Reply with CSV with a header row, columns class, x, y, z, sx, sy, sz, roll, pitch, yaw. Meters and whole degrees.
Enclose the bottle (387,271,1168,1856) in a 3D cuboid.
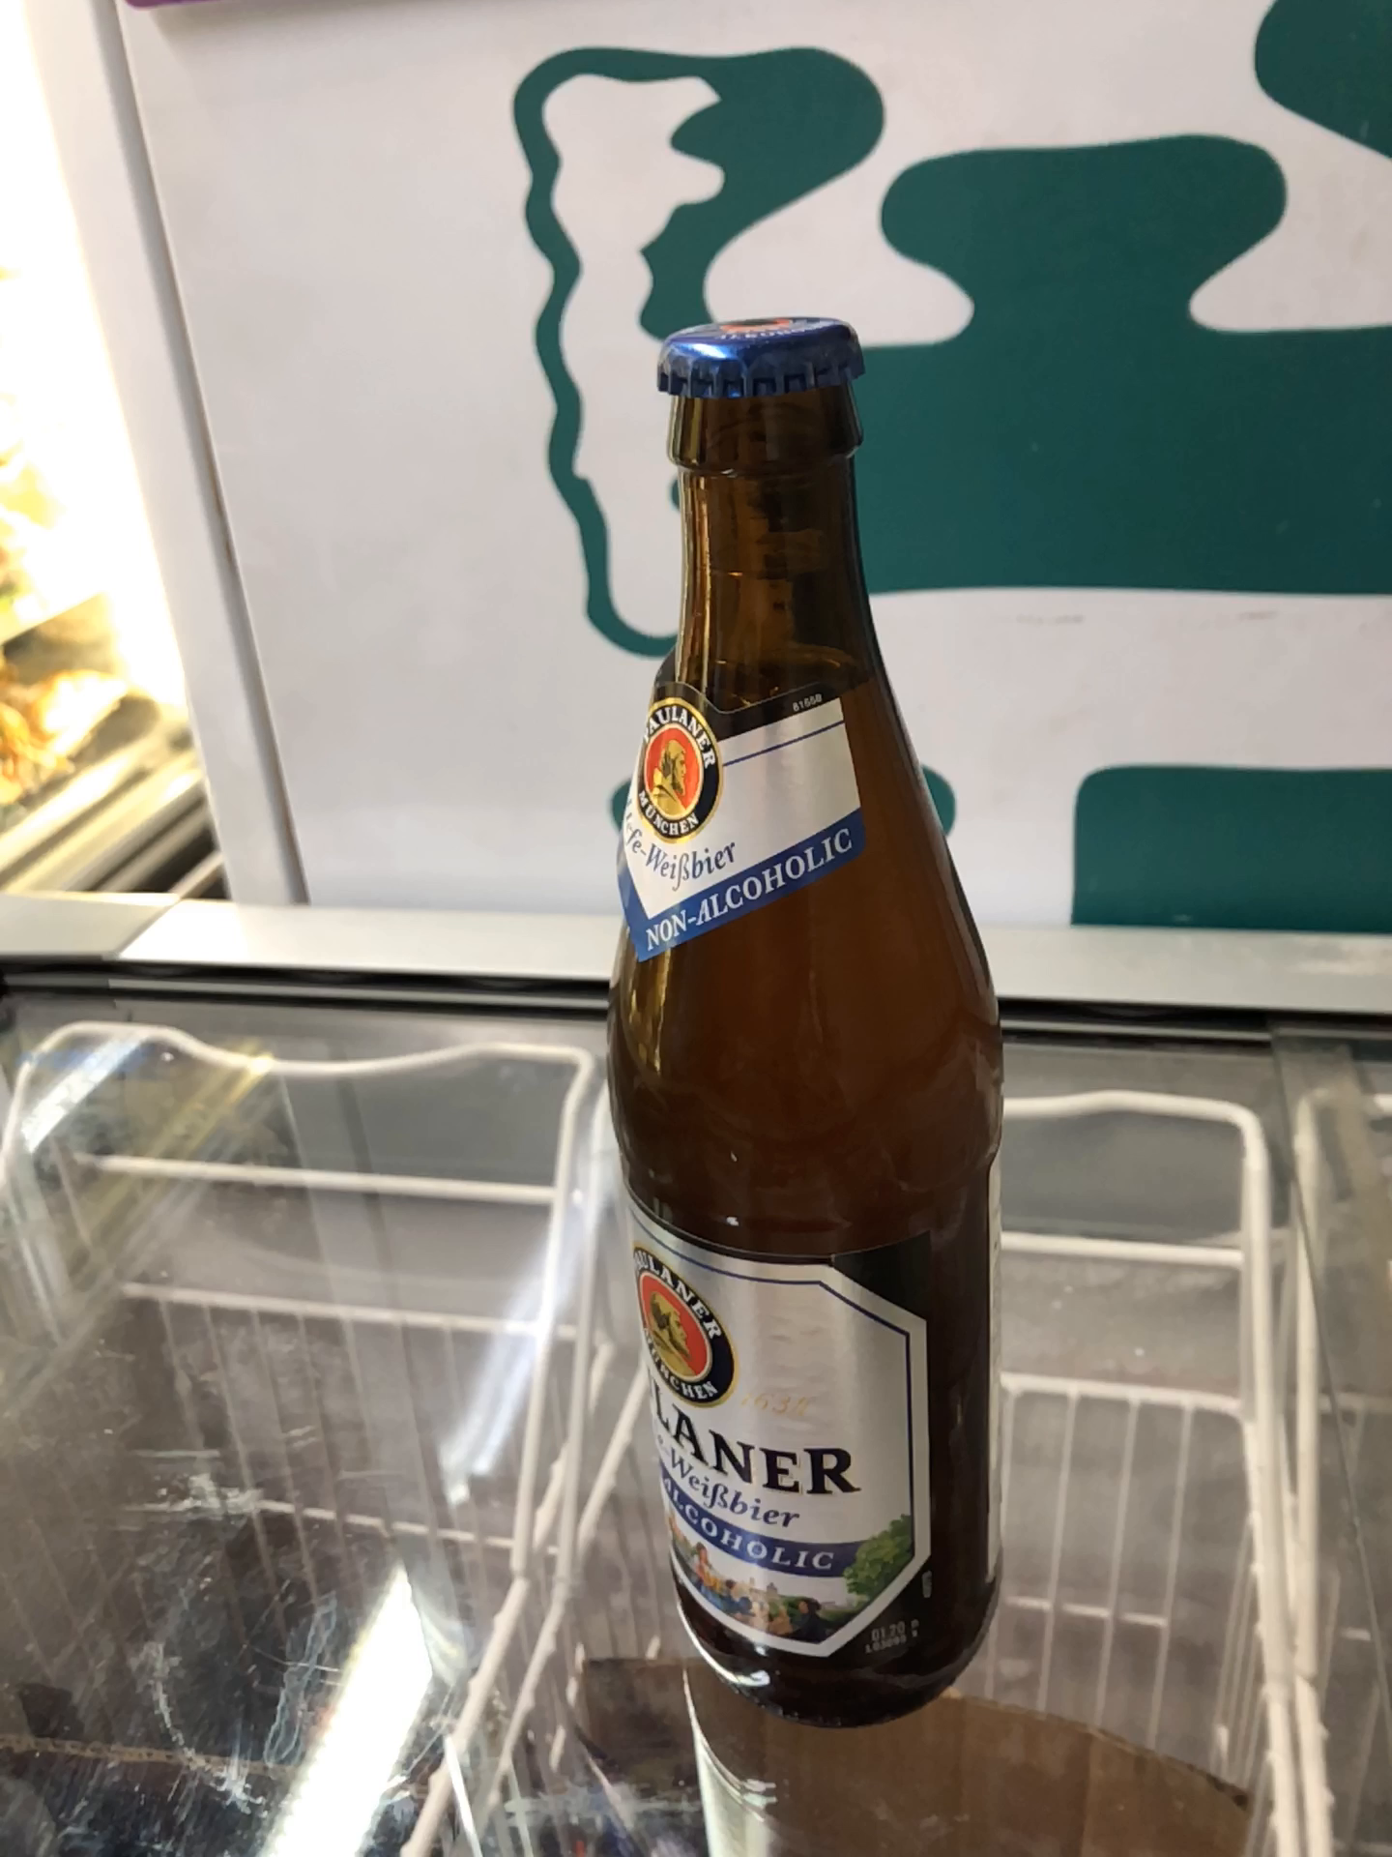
class,x,y,z,sx,sy,sz,roll,pitch,yaw
bottle,0.018,0.029,0.262,0.070,0.248,0.080,-20,31,-26
